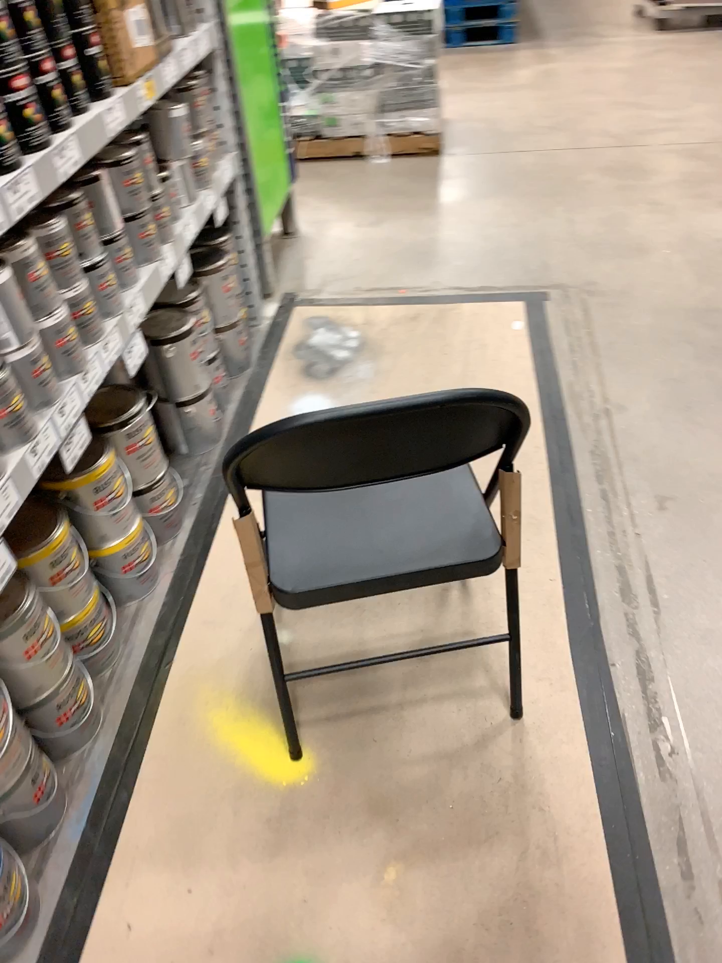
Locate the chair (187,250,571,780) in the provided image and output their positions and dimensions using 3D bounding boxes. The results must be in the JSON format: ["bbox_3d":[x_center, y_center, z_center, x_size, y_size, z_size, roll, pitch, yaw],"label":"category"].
[{"bbox_3d":[0.019,0.070,1.262,0.451,0.713,0.477,-9,40,-3],"label":"chair"}]
